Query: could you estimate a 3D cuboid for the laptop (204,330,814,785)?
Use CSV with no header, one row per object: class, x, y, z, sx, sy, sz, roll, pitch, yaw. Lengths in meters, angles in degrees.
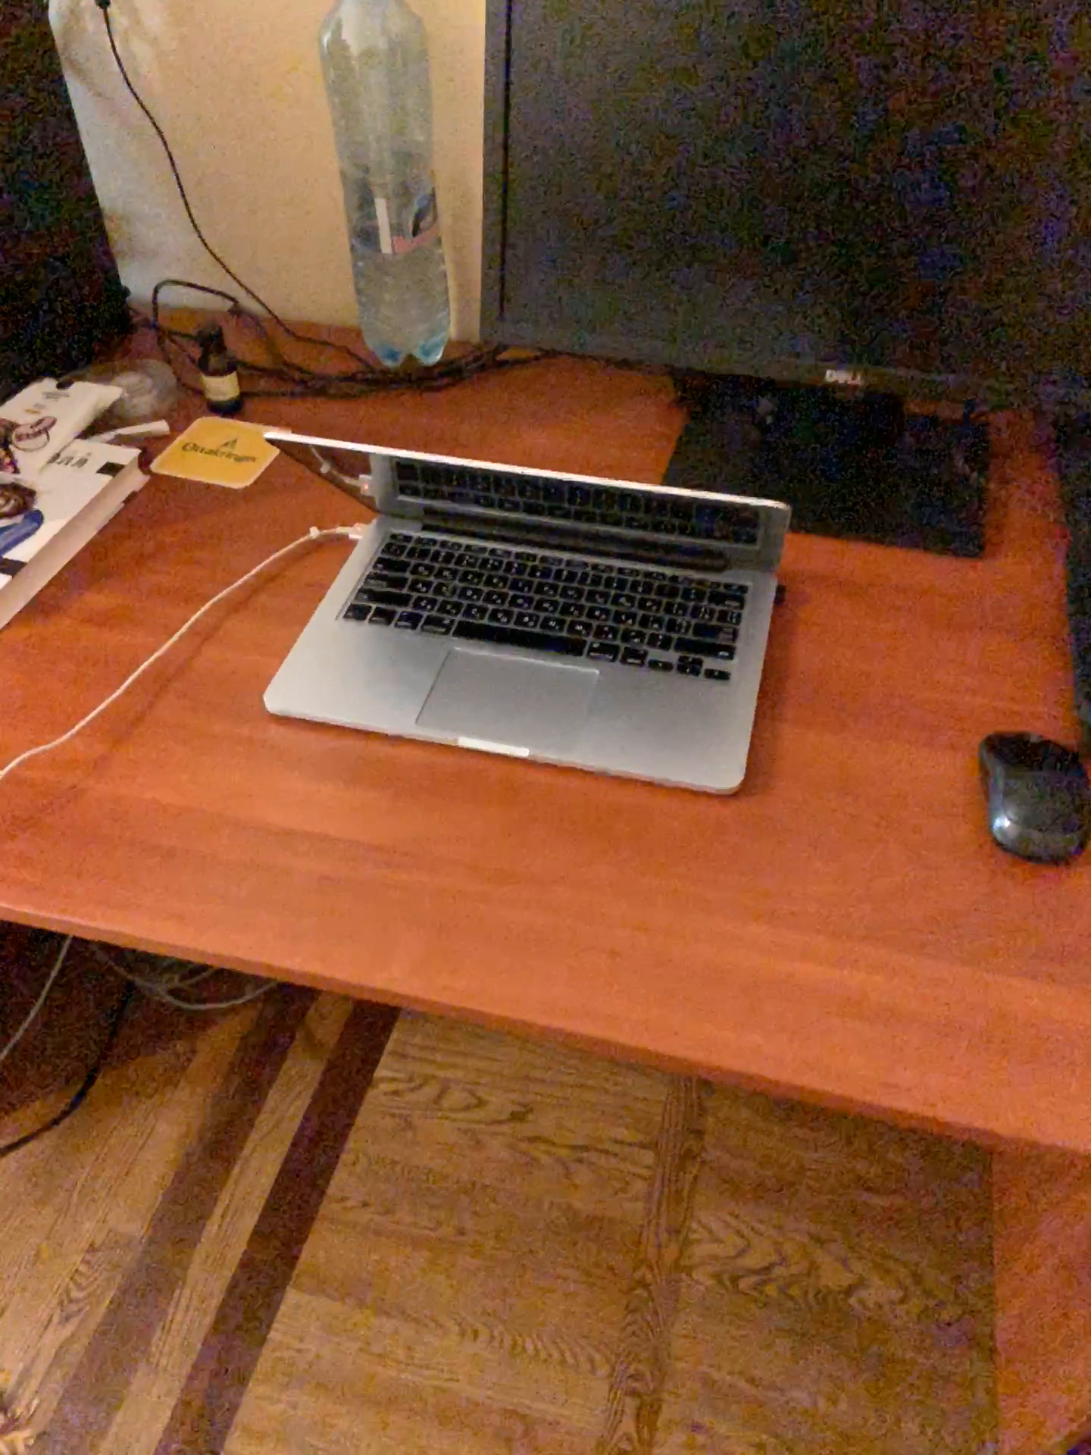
laptop,-0.008,-0.115,0.689,0.303,0.150,0.208,10,46,9
